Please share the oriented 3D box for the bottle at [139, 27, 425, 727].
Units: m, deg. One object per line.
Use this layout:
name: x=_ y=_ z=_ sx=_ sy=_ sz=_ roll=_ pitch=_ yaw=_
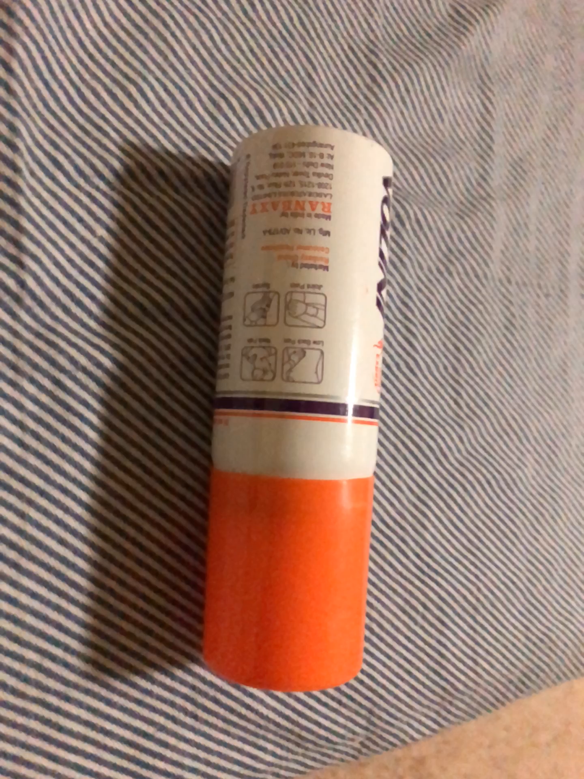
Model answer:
bottle: x=0.001 y=-0.003 z=0.138 sx=0.040 sy=0.040 sz=0.120 roll=12 pitch=82 yaw=-69
